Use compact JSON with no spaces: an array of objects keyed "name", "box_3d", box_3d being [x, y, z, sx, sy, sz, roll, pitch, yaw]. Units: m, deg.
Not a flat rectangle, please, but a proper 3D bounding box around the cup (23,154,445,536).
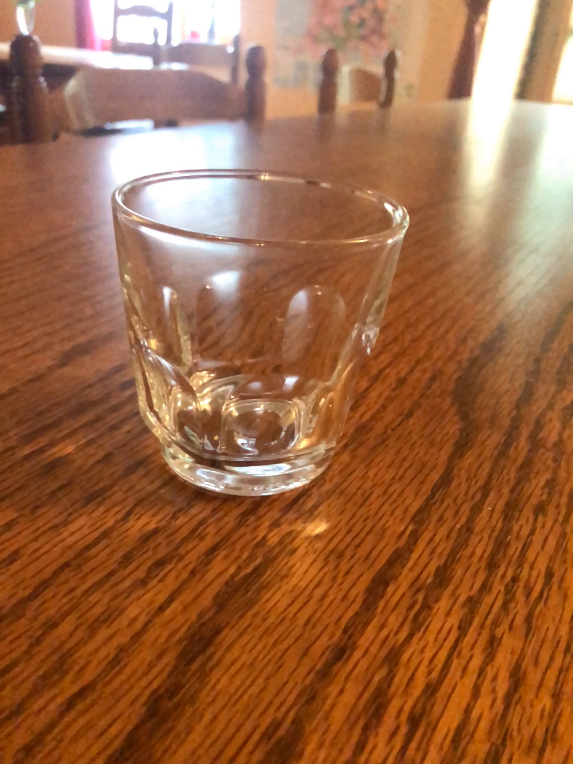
[{"name":"cup","box_3d":[-0.010,-0.020,0.188,0.083,0.069,0.083,4,28,-2]}]
